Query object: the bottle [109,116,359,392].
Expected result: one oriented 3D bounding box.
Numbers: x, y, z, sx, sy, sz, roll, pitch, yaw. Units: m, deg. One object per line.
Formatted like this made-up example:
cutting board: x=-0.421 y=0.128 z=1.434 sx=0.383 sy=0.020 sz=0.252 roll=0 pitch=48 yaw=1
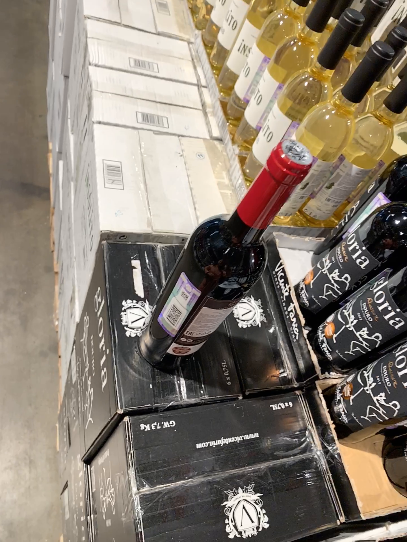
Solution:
bottle: x=-0.008 y=0.015 z=0.385 sx=0.090 sy=0.318 sz=0.080 roll=-9 pitch=63 yaw=-27
